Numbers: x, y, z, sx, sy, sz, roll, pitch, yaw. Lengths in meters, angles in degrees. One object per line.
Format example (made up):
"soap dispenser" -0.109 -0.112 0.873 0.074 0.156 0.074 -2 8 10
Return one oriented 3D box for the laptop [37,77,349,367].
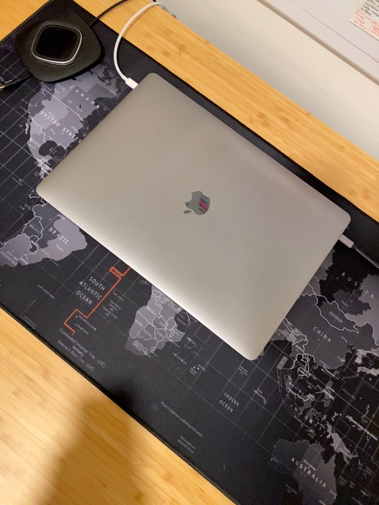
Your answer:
"laptop" 0.009 -0.056 0.494 0.336 0.002 0.226 38 75 6
